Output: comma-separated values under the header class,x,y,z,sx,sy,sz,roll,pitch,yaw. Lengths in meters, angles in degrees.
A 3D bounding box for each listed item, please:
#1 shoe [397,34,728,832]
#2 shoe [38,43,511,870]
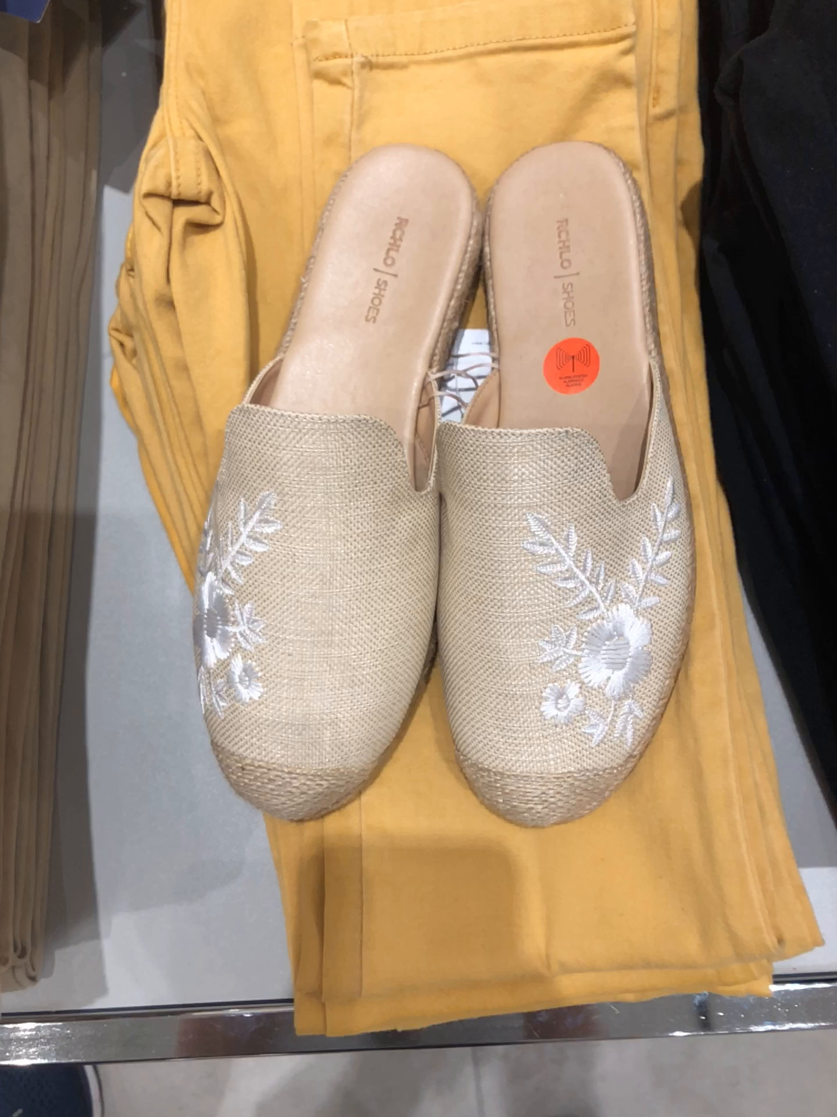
class,x,y,z,sx,sy,sz,roll,pitch,yaw
shoe,0.046,-0.039,0.310,0.090,0.070,0.240,0,81,7
shoe,-0.036,-0.035,0.308,0.090,0.070,0.240,10,81,8
